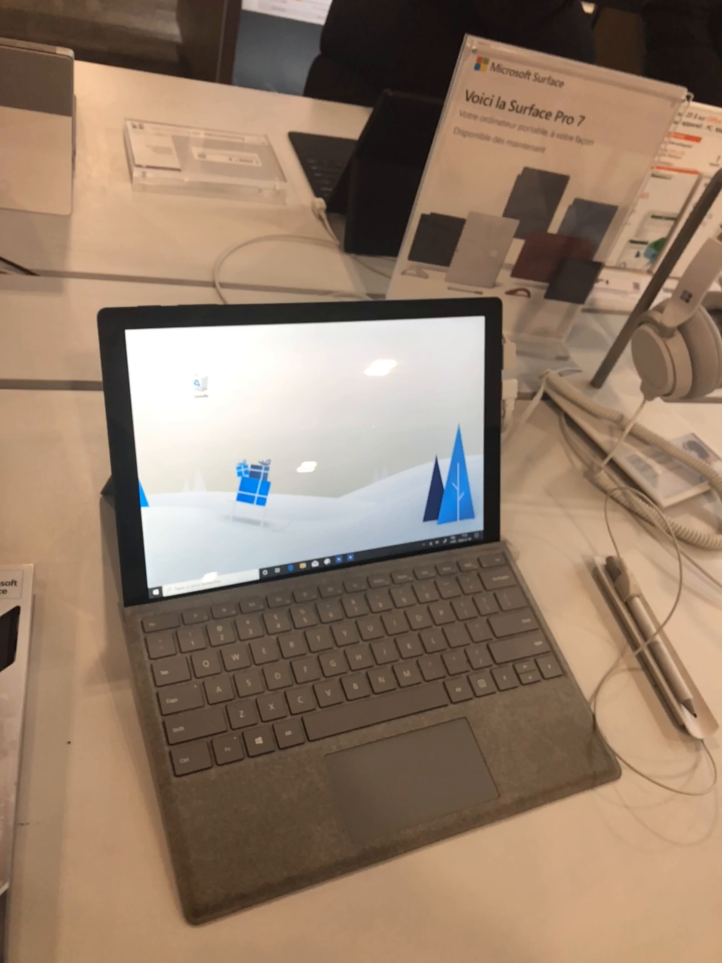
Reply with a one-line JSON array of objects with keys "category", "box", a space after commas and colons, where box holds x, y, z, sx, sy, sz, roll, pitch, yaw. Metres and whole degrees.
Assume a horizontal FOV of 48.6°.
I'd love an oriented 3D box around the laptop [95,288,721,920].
[{"category": "laptop", "box": [0.008, 0.041, 0.504, 0.285, 0.150, 0.308, -7, 52, -25]}]
